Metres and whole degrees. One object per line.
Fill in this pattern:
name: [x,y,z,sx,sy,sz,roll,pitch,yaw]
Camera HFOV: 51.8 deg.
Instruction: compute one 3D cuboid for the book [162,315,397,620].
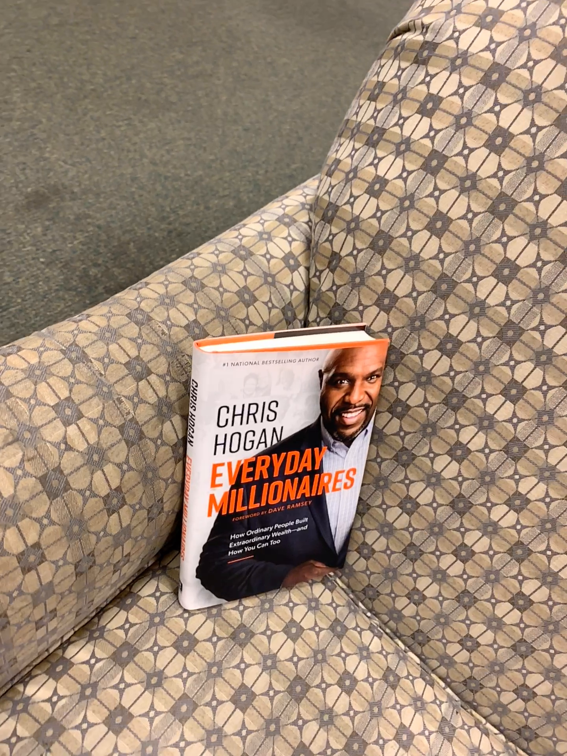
book: [-0.010,0.074,0.472,0.160,0.244,0.038,-5,29,-25]
